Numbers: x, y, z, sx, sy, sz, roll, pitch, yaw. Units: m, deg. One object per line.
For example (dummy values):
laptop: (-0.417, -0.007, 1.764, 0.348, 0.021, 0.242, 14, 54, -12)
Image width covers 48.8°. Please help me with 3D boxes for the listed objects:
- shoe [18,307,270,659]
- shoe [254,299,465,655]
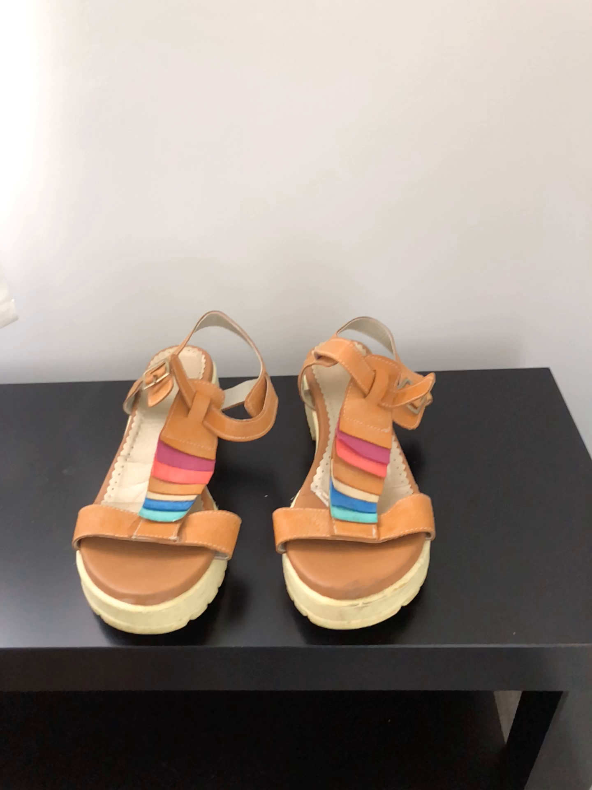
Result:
shoe: (-0.081, 0.041, 0.448, 0.100, 0.083, 0.248, -1, 38, 4)
shoe: (0.038, 0.034, 0.432, 0.100, 0.077, 0.248, -1, 38, 4)
